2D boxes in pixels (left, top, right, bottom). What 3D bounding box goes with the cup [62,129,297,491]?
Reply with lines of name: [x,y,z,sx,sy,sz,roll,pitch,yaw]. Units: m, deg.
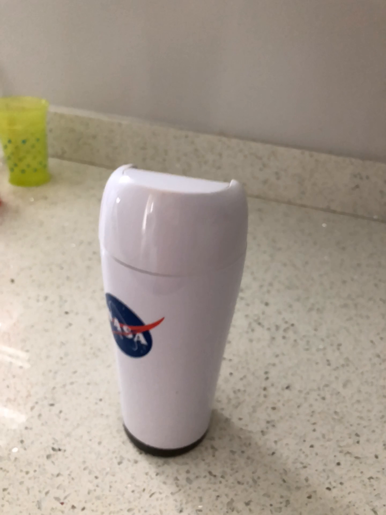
cup: [-0.011,0.032,0.256,0.081,0.182,0.078,3,33,-2]
